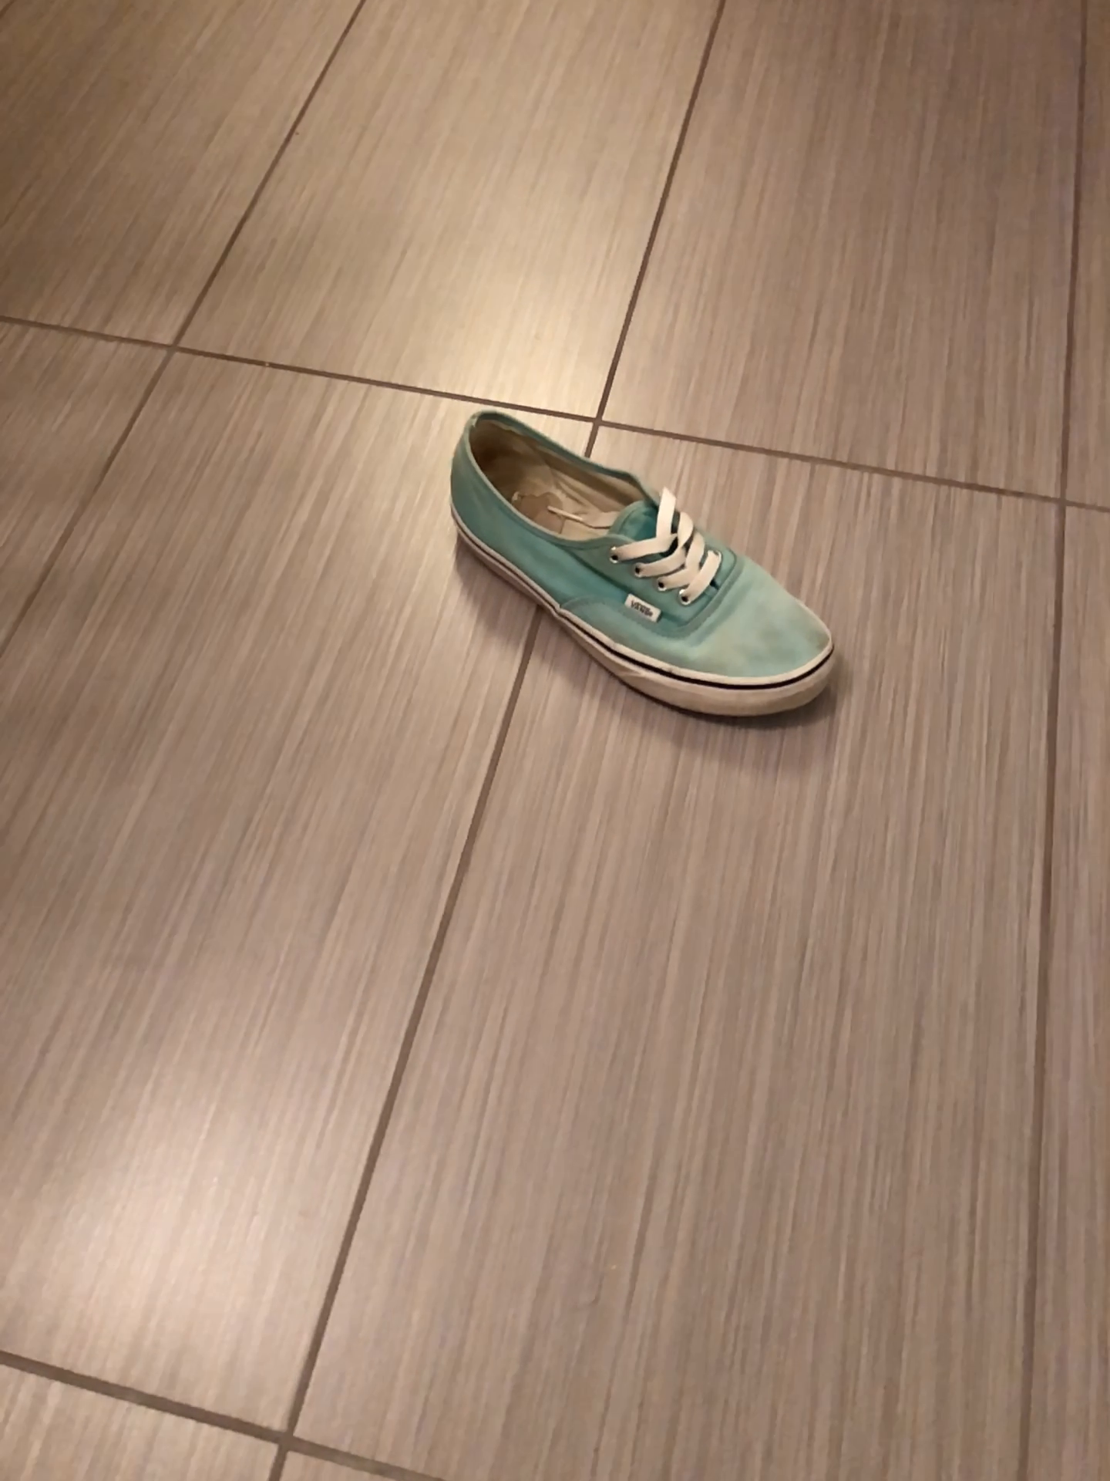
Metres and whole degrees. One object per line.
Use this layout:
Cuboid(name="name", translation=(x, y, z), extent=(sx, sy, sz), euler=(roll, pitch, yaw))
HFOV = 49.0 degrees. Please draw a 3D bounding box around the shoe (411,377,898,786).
Cuboid(name="shoe", translation=(0.050, -0.095, 0.695), extent=(0.260, 0.080, 0.090), euler=(34, 66, 19))
